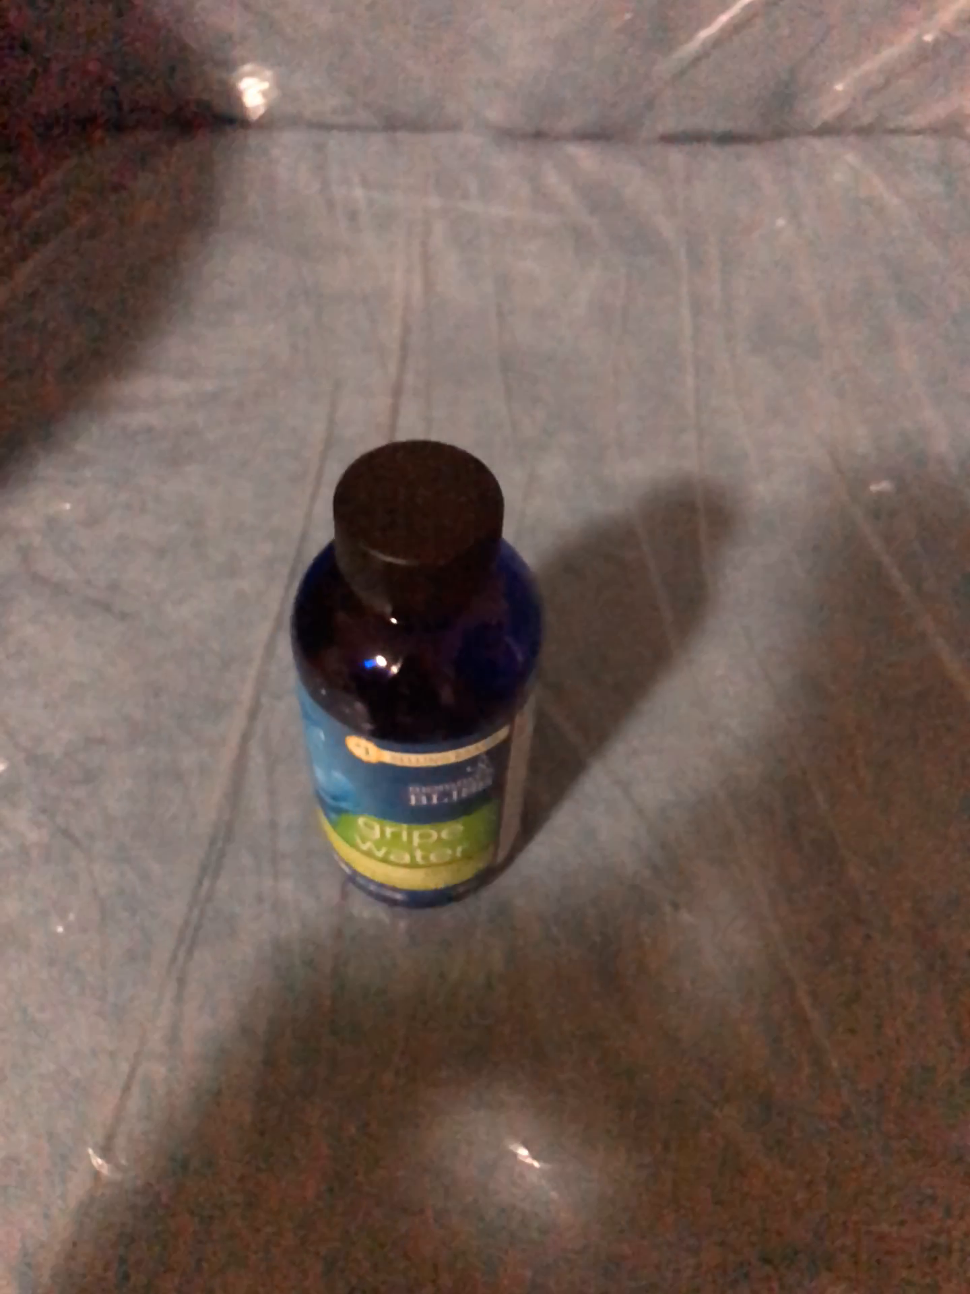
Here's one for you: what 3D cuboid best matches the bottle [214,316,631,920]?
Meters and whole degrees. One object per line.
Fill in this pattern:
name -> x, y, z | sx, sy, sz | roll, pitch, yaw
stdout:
bottle -> -0.010, 0.004, 0.217 | 0.050, 0.120, 0.050 | 1, 57, -2
